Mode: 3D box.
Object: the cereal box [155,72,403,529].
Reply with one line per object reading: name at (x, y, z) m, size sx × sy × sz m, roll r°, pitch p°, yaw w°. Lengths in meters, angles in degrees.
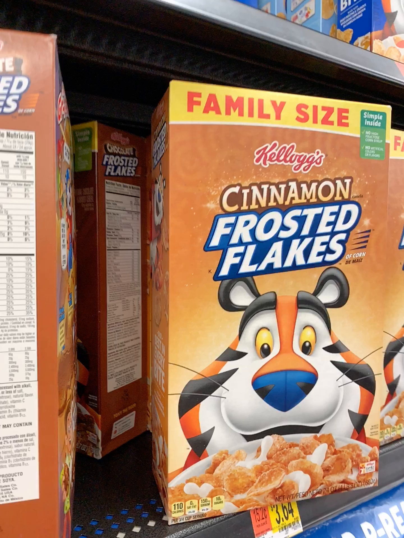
cereal box at (0.065, 0.023, 0.373) m, size 0.200 × 0.340 × 0.080 m, roll -1°, pitch 2°, yaw -14°
